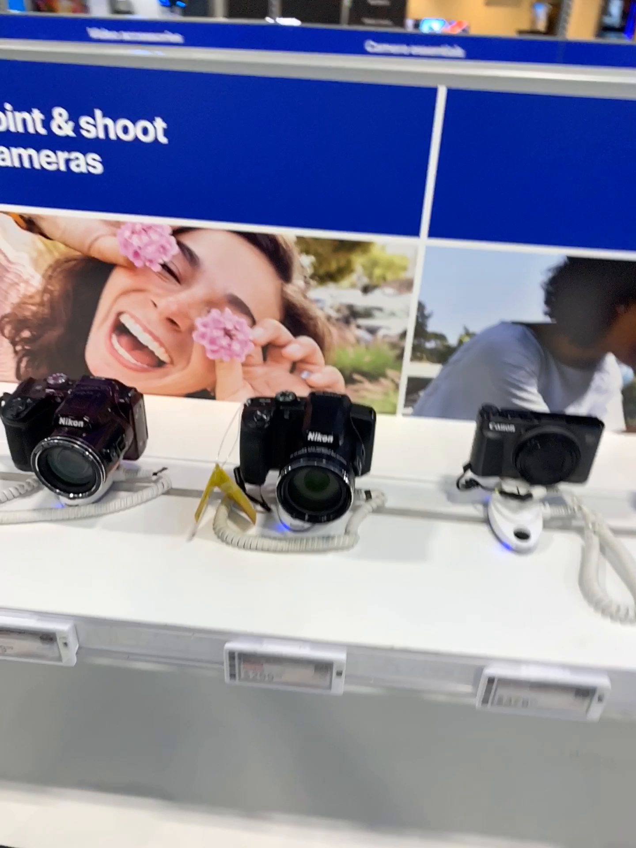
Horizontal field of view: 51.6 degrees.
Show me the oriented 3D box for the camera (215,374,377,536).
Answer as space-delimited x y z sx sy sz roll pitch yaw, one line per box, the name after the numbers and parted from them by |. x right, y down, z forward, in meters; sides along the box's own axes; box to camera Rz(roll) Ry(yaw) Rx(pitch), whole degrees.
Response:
-0.015 0.023 0.565 0.120 0.080 0.111 5 32 4 | camera

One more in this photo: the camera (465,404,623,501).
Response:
0.203 0.025 0.606 0.120 0.060 0.050 5 32 4 | camera

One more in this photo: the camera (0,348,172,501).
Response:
-0.214 -0.003 0.591 0.130 0.080 0.111 5 32 4 | camera
